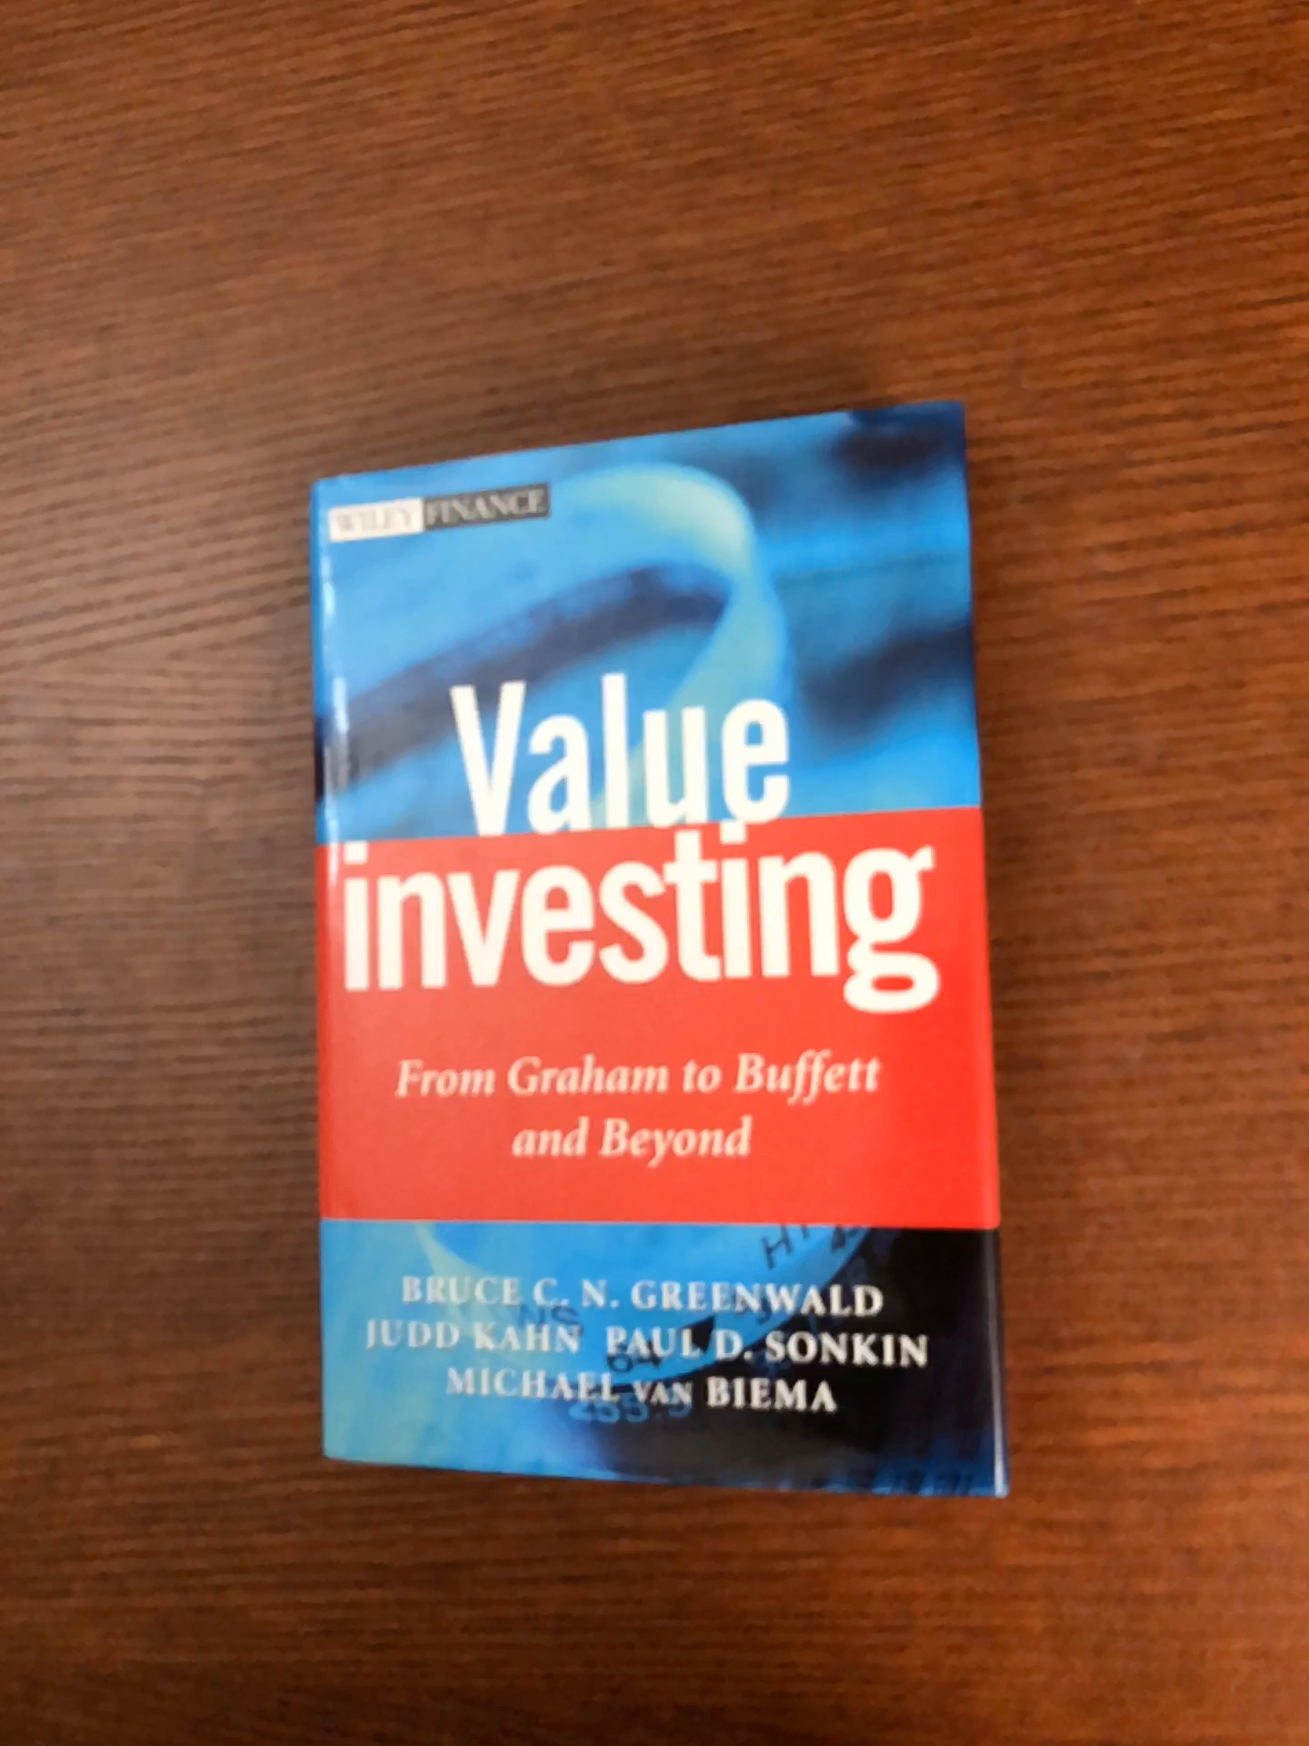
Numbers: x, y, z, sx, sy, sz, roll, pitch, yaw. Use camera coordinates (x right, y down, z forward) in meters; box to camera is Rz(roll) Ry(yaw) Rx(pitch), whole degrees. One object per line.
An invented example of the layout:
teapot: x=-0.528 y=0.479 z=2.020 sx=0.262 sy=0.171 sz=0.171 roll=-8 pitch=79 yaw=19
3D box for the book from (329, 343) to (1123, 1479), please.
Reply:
book: x=0.010 y=0.008 z=0.327 sx=0.170 sy=0.020 sz=0.230 roll=-2 pitch=86 yaw=14
